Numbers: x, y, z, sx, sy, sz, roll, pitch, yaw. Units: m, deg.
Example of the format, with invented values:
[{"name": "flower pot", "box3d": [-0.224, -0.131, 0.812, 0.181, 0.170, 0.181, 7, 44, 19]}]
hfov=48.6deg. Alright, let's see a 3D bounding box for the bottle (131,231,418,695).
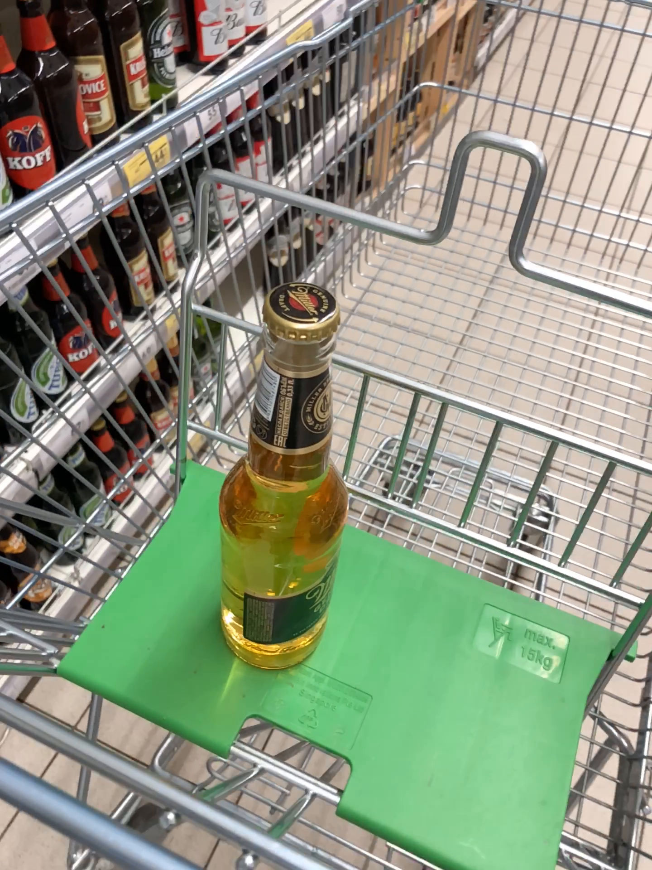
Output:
[{"name": "bottle", "box3d": [-0.020, 0.028, 0.320, 0.070, 0.209, 0.070, 2, 49, -2]}]
